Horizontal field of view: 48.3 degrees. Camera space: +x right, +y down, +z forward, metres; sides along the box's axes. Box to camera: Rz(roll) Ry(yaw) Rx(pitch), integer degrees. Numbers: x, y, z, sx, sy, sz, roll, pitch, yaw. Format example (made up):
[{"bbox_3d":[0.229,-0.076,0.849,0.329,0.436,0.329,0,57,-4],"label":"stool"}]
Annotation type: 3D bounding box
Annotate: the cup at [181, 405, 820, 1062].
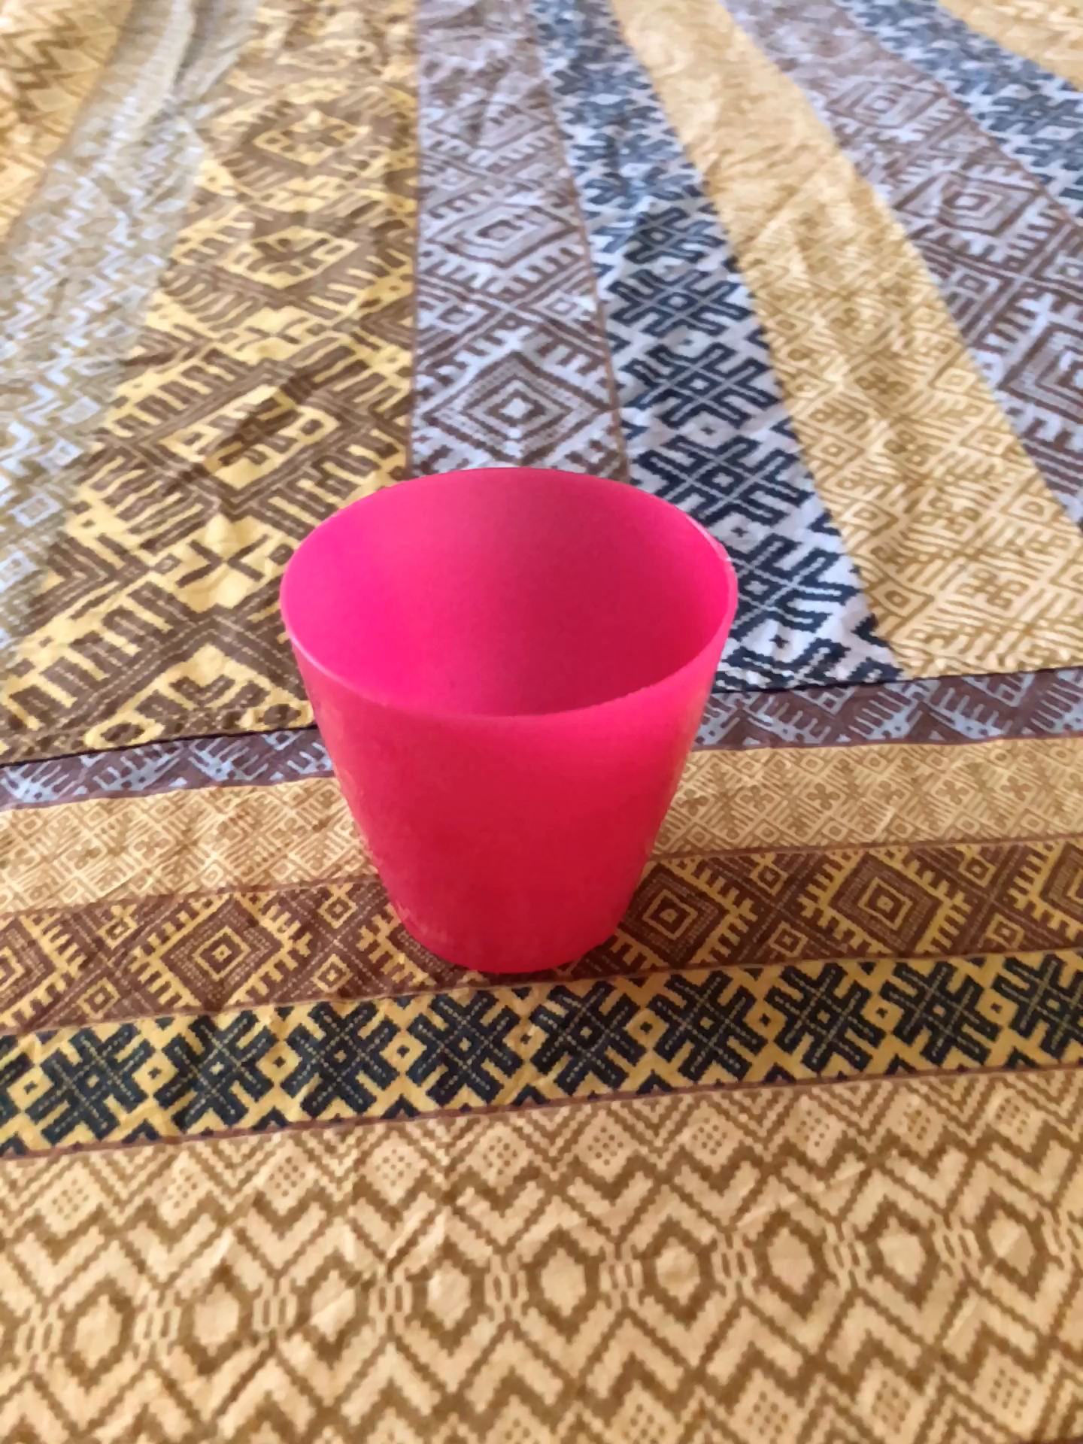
[{"bbox_3d":[-0.008,-0.002,0.229,0.078,0.067,0.078,1,44,0],"label":"cup"}]
